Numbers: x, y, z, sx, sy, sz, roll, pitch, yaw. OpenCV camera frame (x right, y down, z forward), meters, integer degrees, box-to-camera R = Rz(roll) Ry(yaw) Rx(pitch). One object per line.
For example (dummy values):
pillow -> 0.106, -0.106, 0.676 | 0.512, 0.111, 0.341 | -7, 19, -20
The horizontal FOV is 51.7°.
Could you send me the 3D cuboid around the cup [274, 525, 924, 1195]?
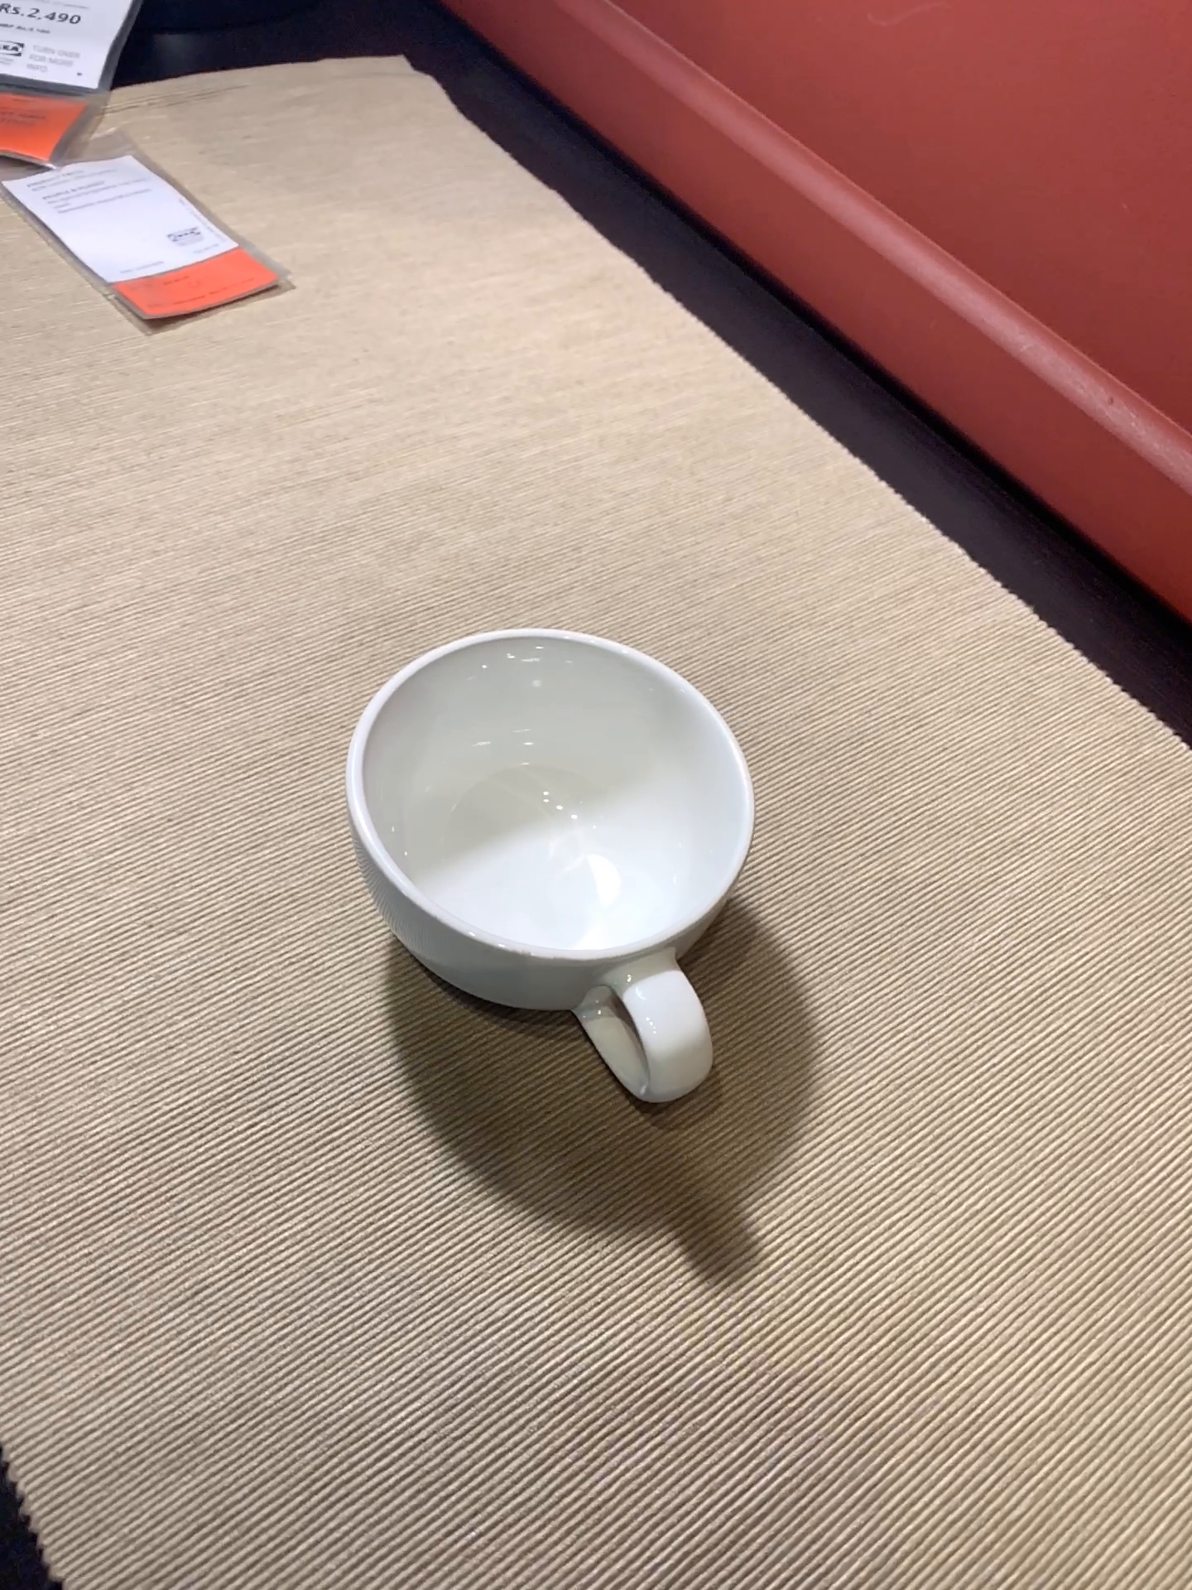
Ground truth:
cup -> -0.006, 0.008, 0.268 | 0.090, 0.060, 0.110 | -18, 57, -22
